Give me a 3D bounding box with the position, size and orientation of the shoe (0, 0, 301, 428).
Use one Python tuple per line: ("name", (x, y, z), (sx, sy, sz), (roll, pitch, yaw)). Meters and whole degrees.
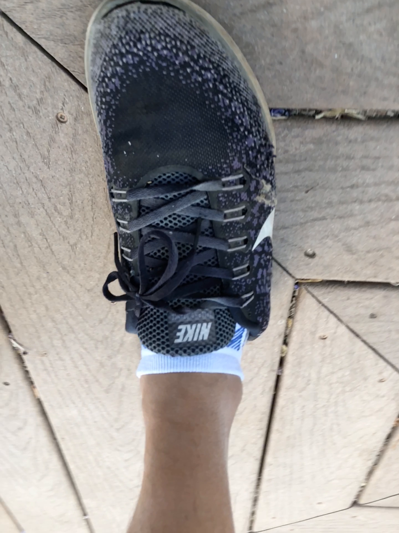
("shoe", (-0.005, -0.021, 0.309), (0.130, 0.100, 0.301), (-5, 126, 10))
